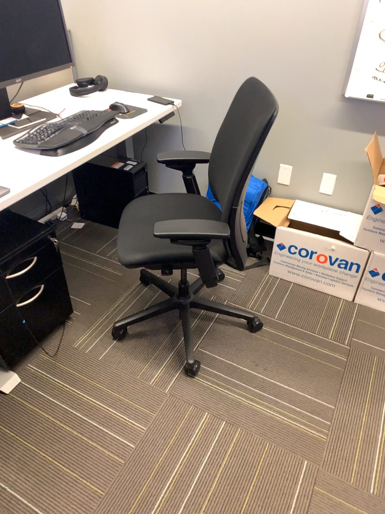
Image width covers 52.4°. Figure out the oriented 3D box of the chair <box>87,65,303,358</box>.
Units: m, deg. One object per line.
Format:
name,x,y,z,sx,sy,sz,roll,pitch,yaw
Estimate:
chair,-0.050,-0.230,1.707,0.610,0.945,0.835,-4,37,-7
